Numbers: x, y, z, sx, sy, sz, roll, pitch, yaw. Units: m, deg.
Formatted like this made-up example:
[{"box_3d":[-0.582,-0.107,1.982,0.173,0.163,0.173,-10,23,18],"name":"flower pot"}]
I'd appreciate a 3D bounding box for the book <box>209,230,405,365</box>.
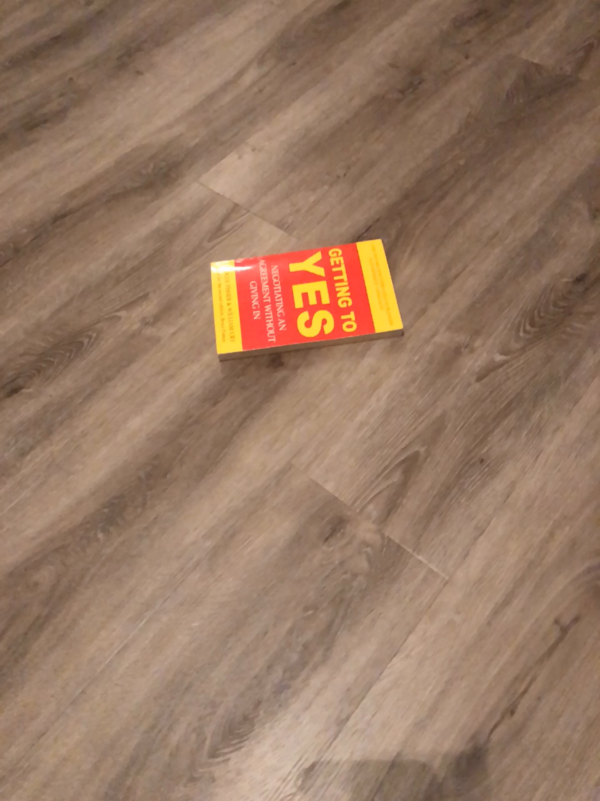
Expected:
[{"box_3d":[0.003,-0.111,0.700,0.190,0.026,0.130,-8,58,0],"name":"book"}]
